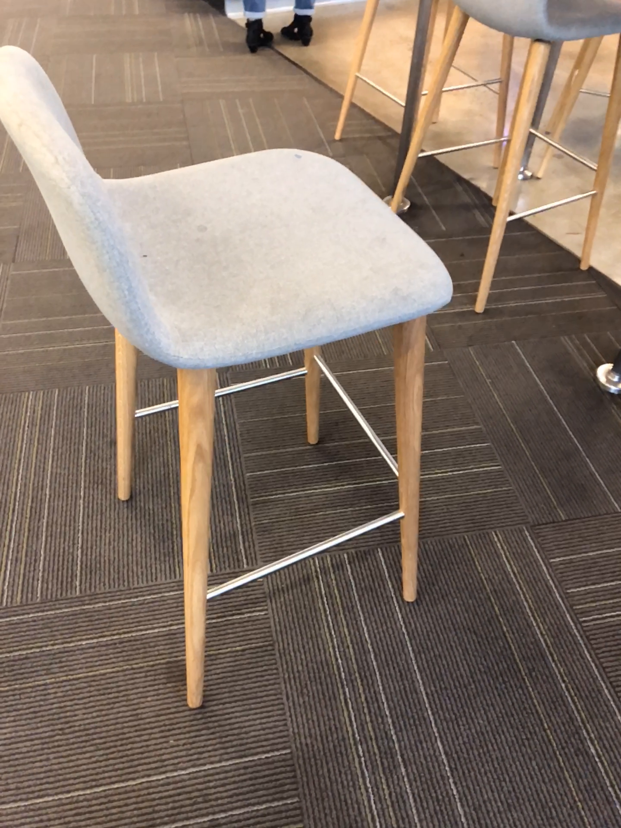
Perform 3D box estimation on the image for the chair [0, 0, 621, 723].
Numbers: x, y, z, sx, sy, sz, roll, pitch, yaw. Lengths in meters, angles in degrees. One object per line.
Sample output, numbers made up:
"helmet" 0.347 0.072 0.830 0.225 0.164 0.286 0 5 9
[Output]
"chair" -0.057 -0.092 1.077 0.560 0.946 0.572 -16 47 -19
